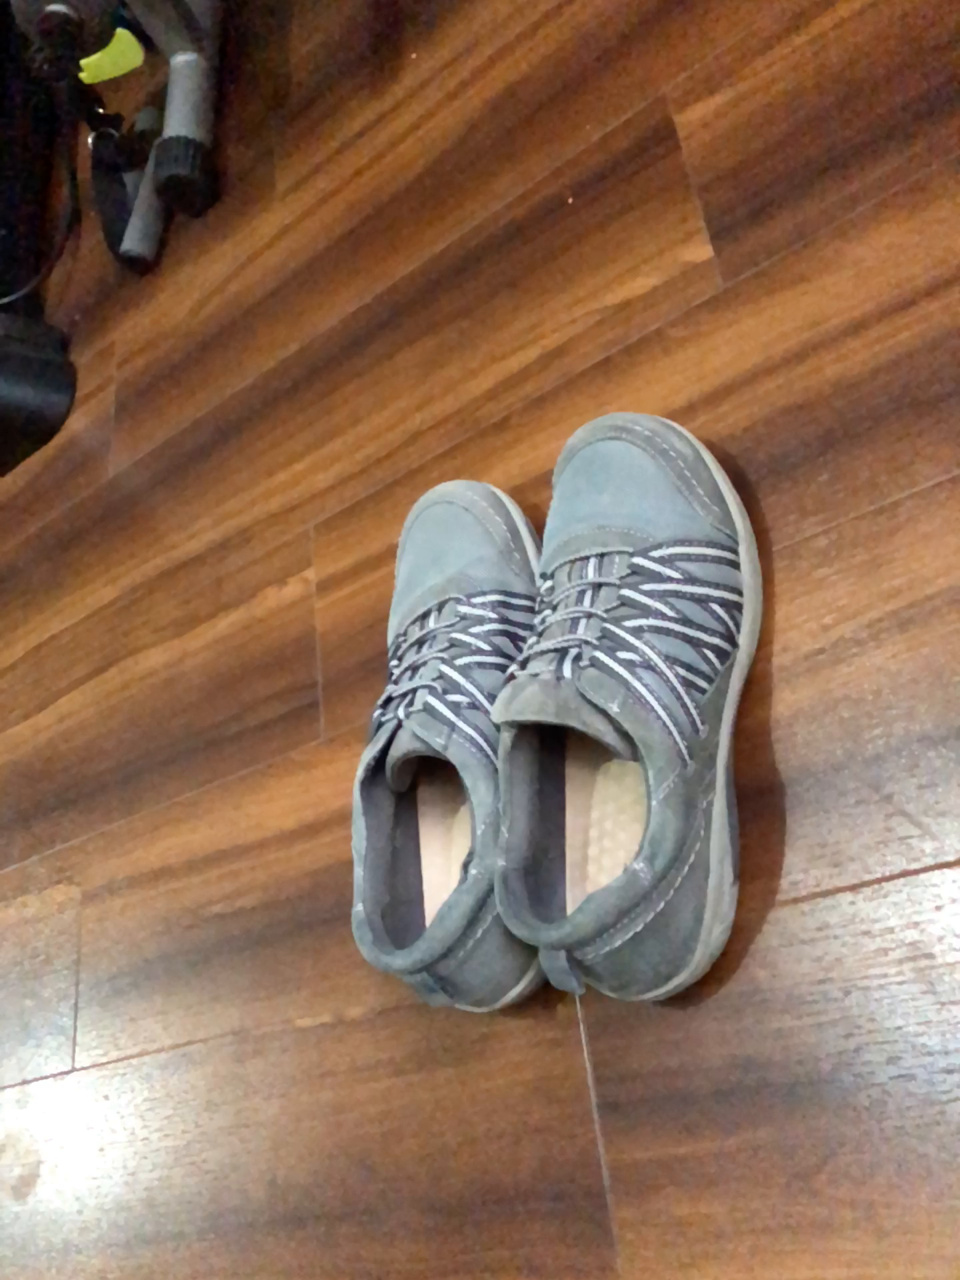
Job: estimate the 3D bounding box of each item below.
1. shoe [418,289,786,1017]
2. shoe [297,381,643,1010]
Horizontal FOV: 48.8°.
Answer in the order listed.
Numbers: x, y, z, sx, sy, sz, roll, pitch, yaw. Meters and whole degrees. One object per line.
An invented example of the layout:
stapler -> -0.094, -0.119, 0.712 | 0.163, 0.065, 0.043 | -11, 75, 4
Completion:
shoe -> 0.056, 0.012, 0.459 | 0.100, 0.109, 0.281 | -12, 66, 36
shoe -> -0.013, 0.030, 0.530 | 0.100, 0.109, 0.281 | -23, 60, 31
